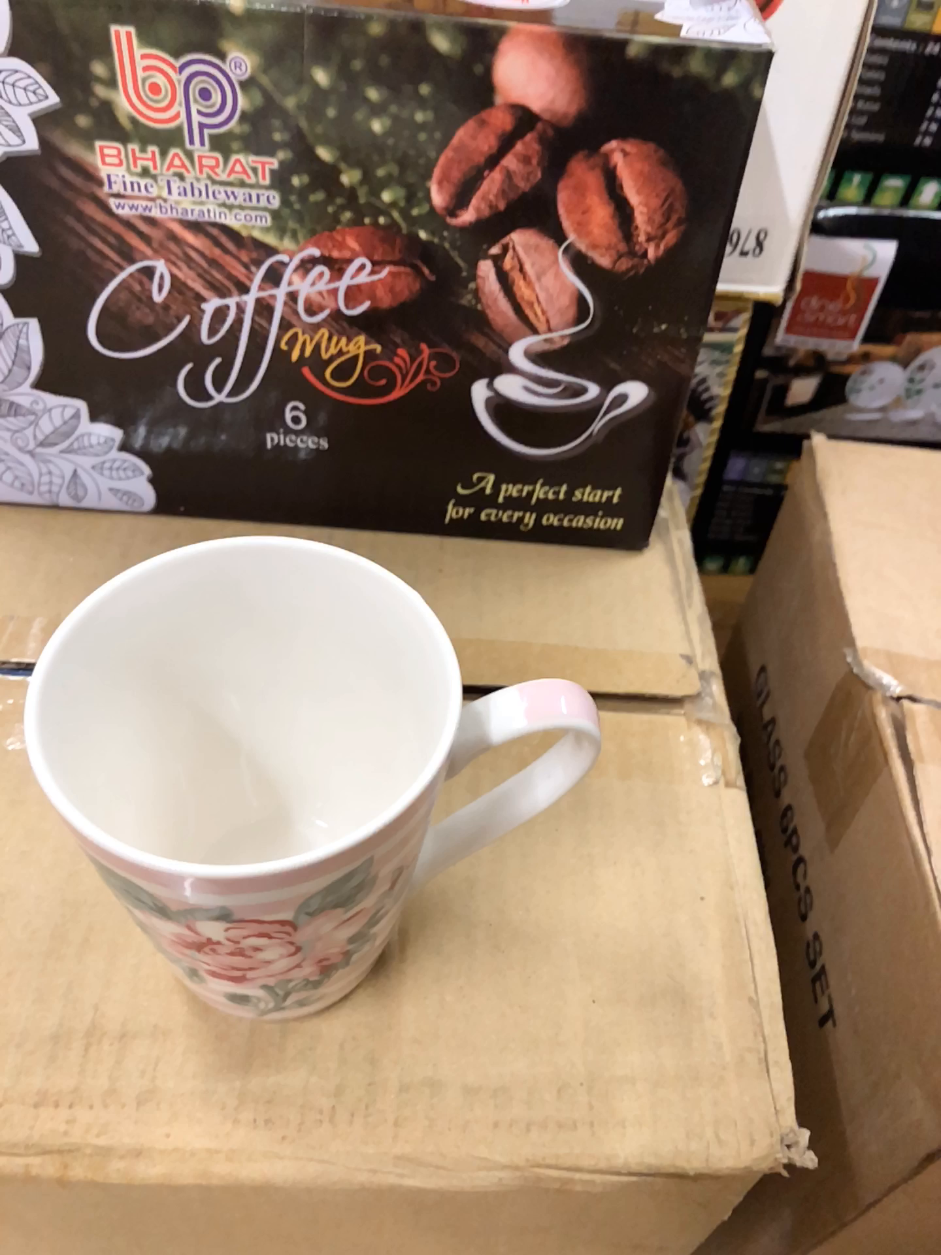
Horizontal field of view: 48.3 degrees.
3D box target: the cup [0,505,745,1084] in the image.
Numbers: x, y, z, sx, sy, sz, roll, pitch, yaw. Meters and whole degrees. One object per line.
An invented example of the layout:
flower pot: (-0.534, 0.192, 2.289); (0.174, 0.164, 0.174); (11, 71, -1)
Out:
cup: (-0.024, 0.037, 0.238); (0.130, 0.090, 0.090); (-1, 48, -7)
